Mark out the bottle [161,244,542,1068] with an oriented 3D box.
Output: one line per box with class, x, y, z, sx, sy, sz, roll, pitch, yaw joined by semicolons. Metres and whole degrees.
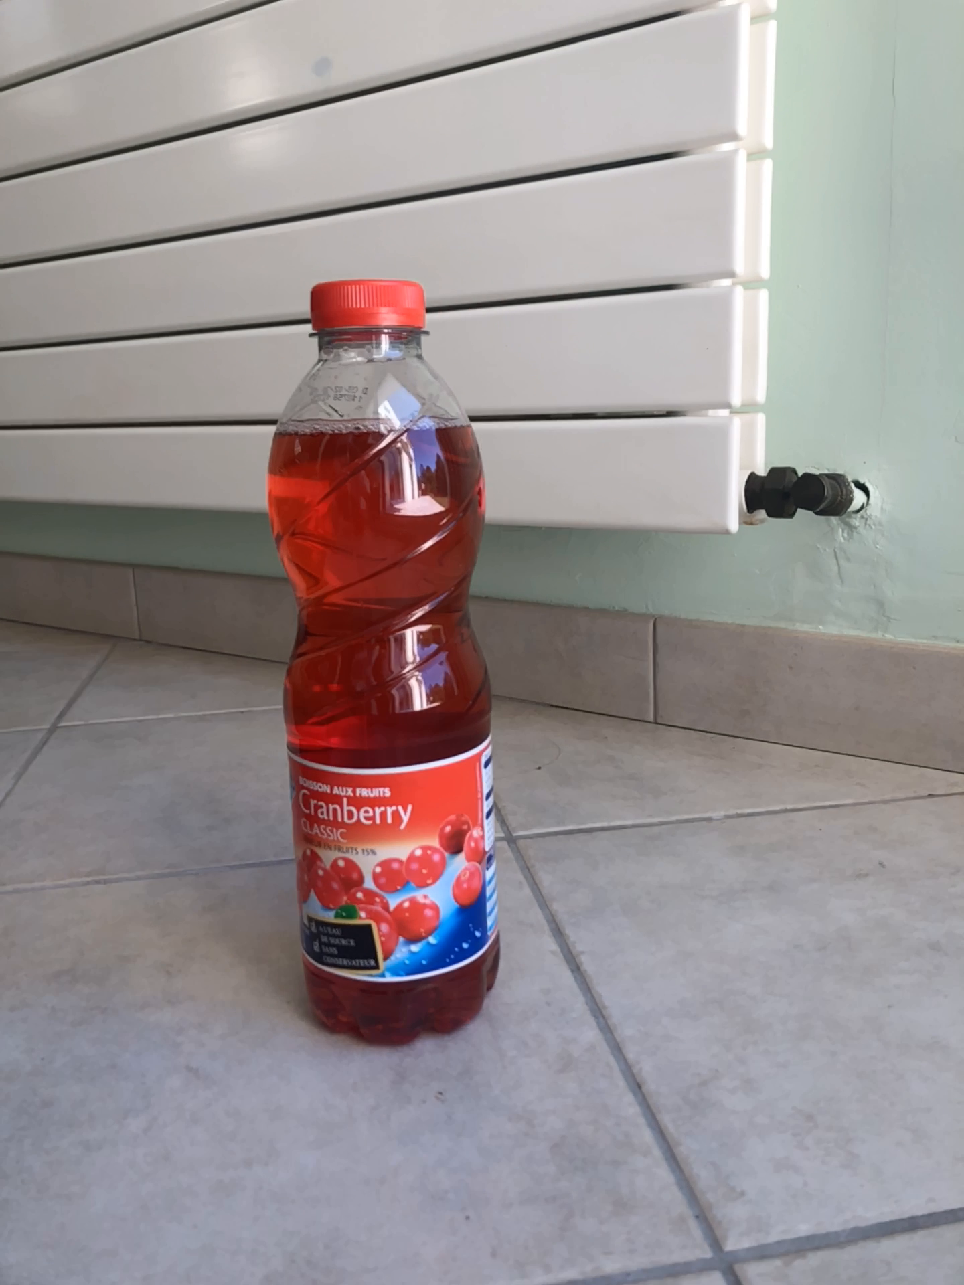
bottle;-0.039;0.003;0.380;0.090;0.259;0.080;4;14;28
